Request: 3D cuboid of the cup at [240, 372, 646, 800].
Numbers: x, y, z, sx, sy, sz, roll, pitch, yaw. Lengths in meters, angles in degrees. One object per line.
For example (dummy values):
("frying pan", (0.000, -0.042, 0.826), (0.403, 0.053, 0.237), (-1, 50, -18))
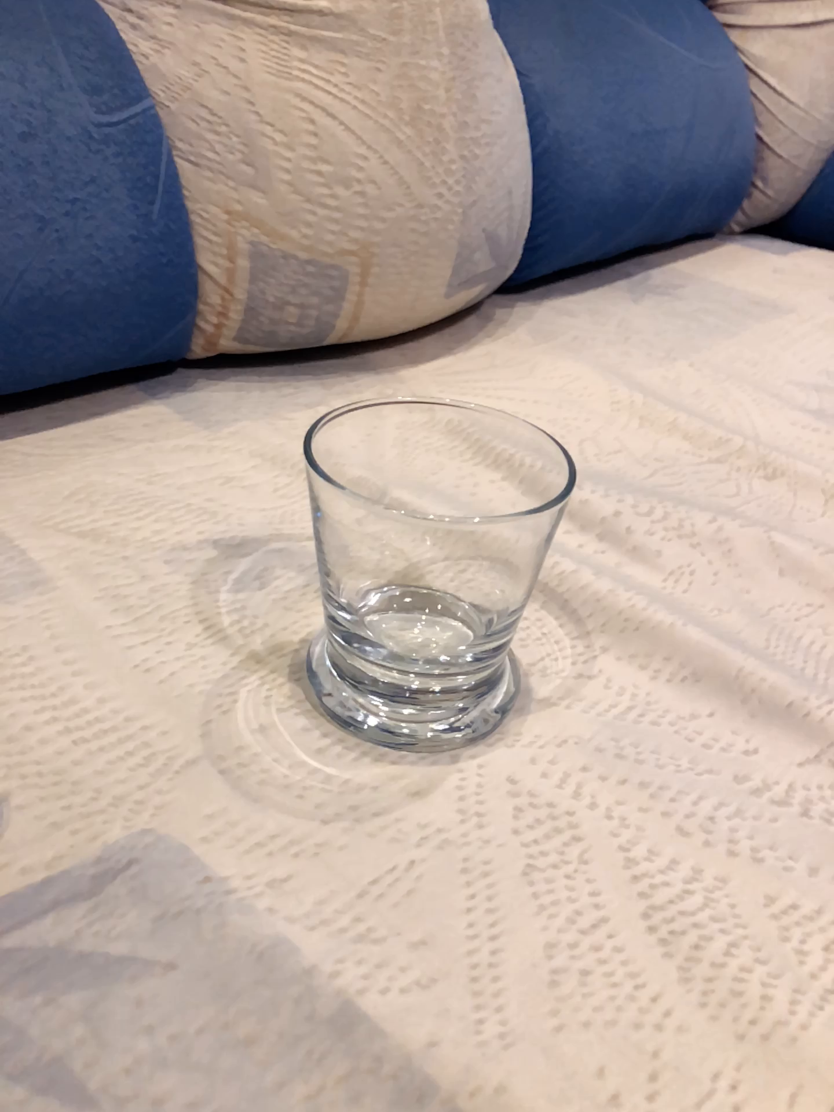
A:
("cup", (0.003, 0.003, 0.293), (0.085, 0.083, 0.087), (4, 33, -3))
